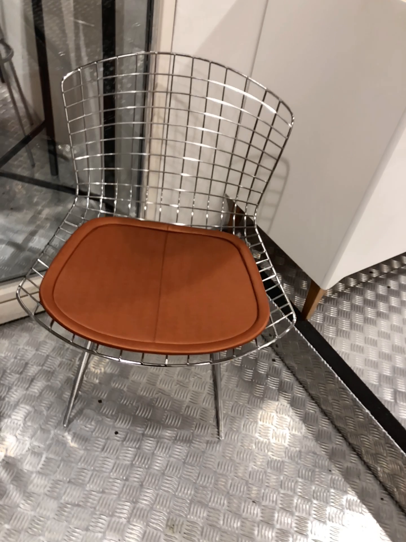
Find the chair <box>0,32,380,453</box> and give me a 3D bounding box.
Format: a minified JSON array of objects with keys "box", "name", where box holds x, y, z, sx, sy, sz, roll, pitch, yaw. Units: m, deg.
[{"box":[-0.084,-0.038,1.030,0.550,0.704,0.574,6,43,-6],"name":"chair"}]
